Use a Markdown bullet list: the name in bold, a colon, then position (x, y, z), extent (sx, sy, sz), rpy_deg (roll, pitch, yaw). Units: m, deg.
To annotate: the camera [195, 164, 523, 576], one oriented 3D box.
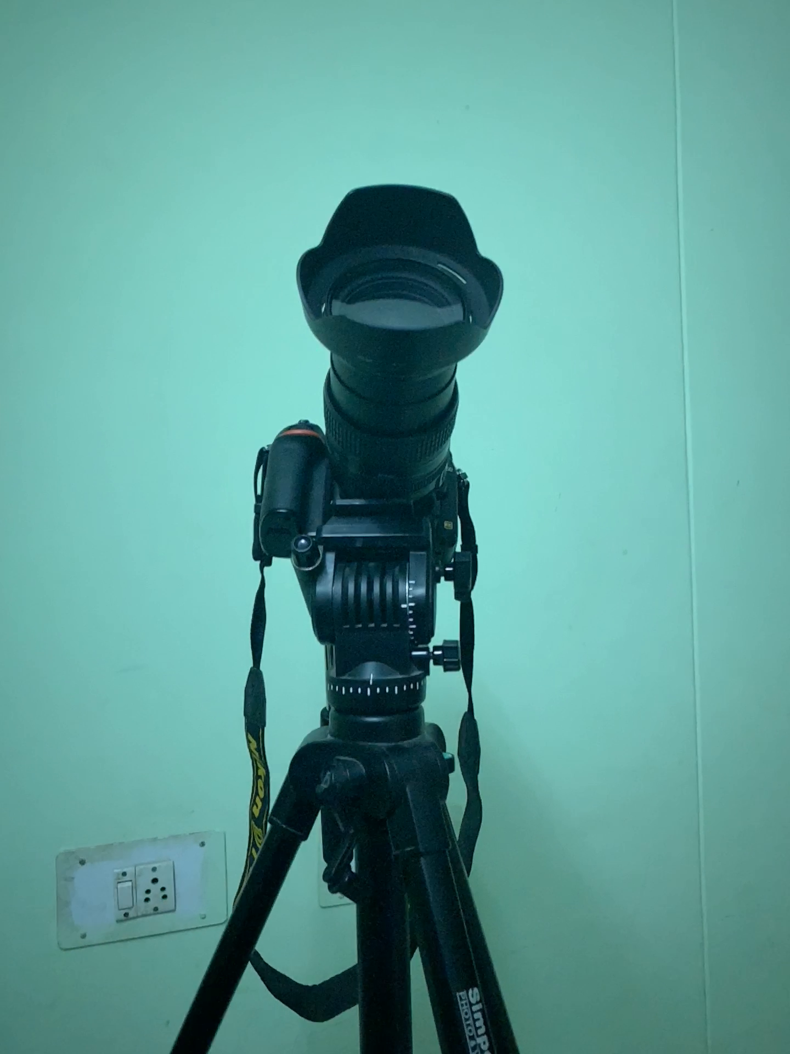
- **camera**: position (-0.021, -0.079, 0.511), extent (0.151, 0.121, 0.247), rpy_deg (1, -30, -2)
